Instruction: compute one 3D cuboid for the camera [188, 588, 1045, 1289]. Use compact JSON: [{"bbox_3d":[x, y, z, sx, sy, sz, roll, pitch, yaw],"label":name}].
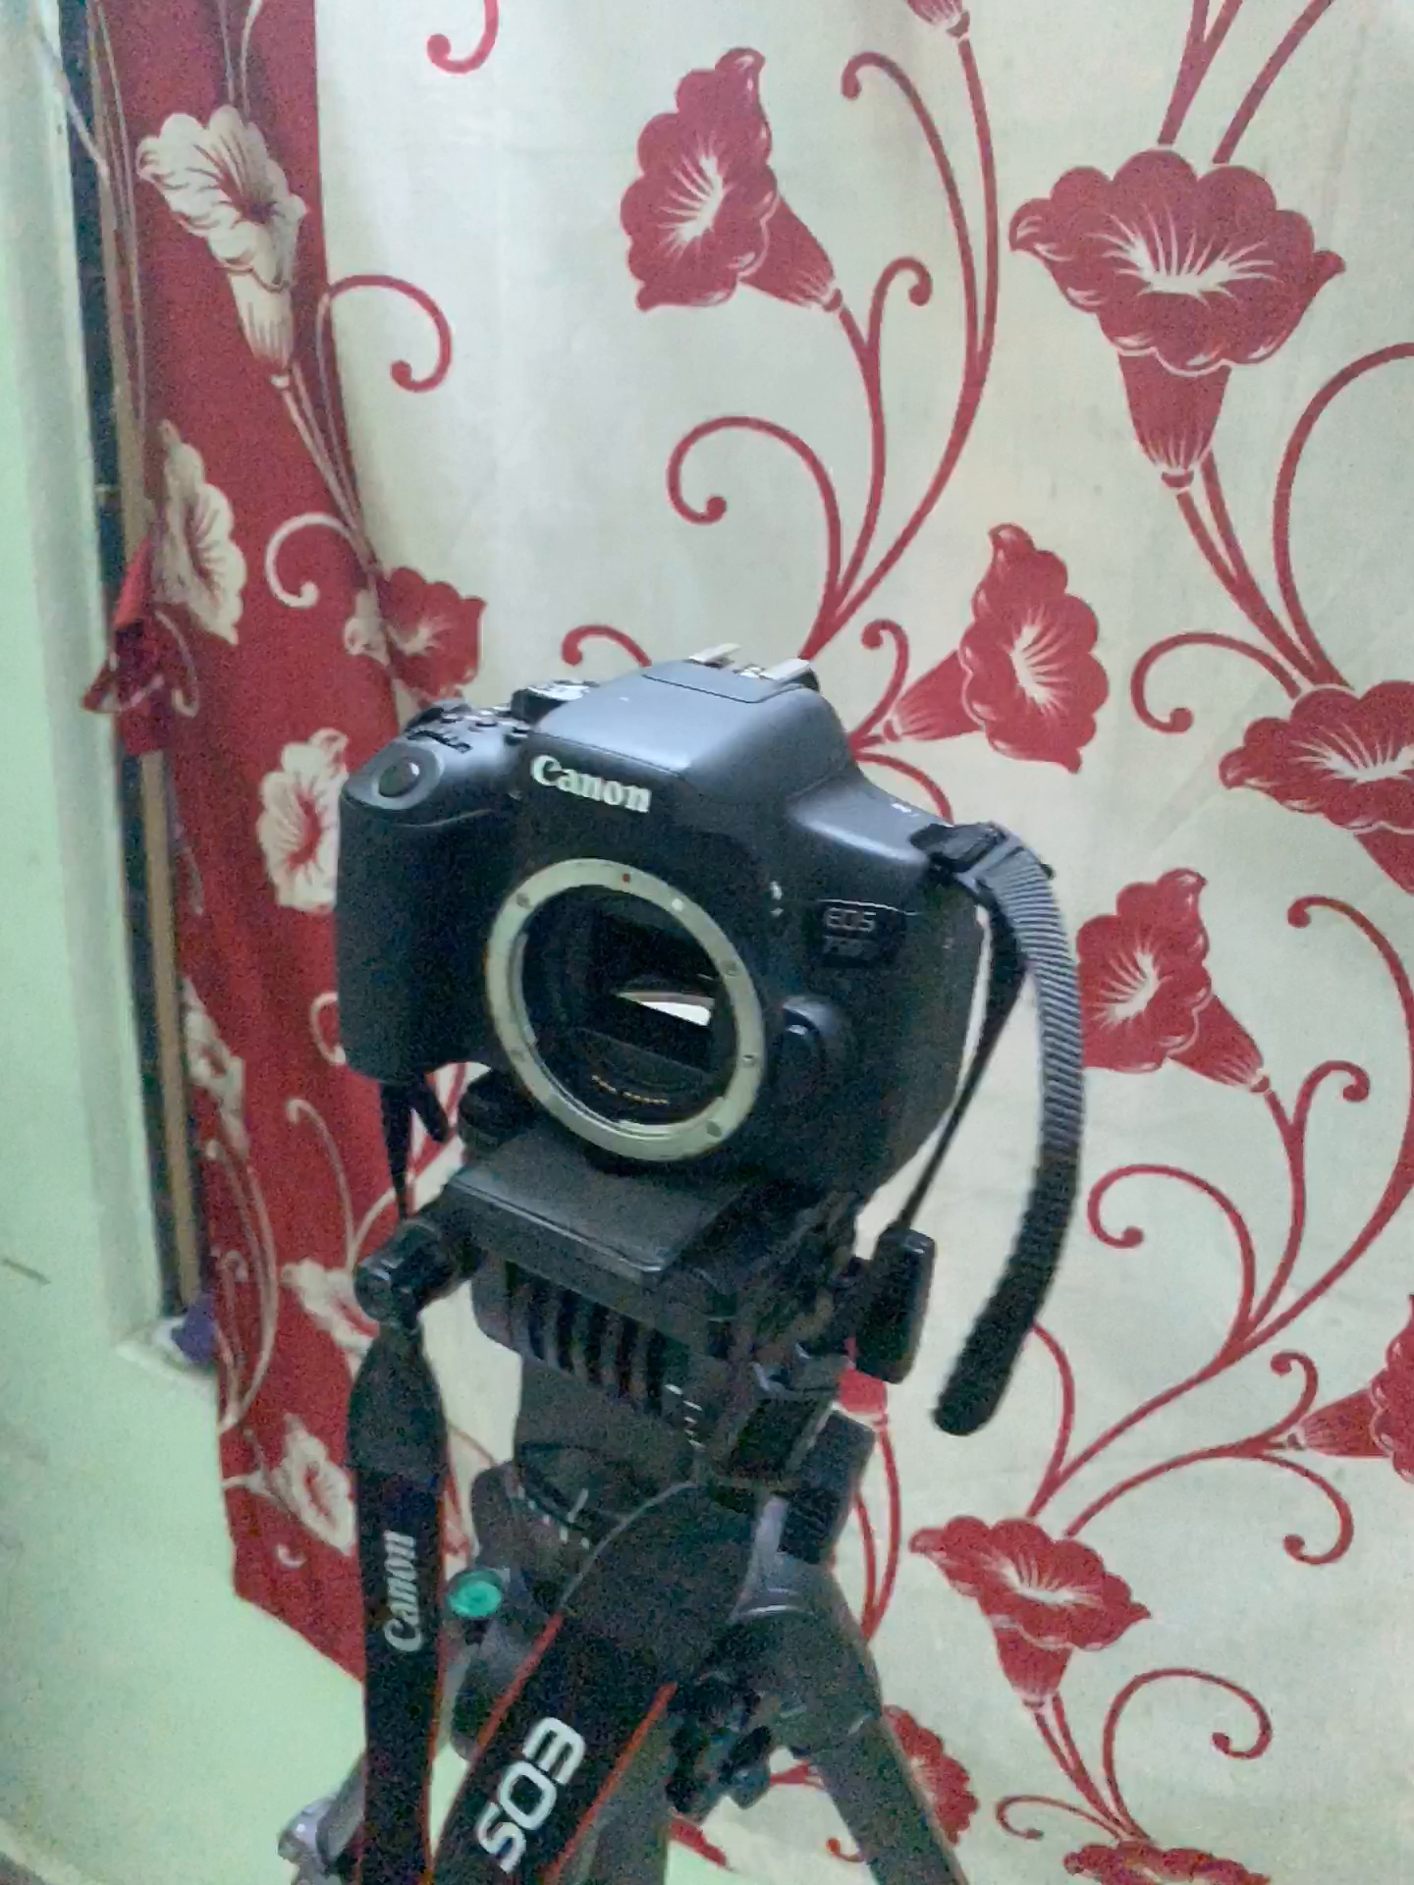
[{"bbox_3d":[-0.019,-0.012,0.300,0.142,0.088,0.085,16,26,24],"label":"camera"}]
